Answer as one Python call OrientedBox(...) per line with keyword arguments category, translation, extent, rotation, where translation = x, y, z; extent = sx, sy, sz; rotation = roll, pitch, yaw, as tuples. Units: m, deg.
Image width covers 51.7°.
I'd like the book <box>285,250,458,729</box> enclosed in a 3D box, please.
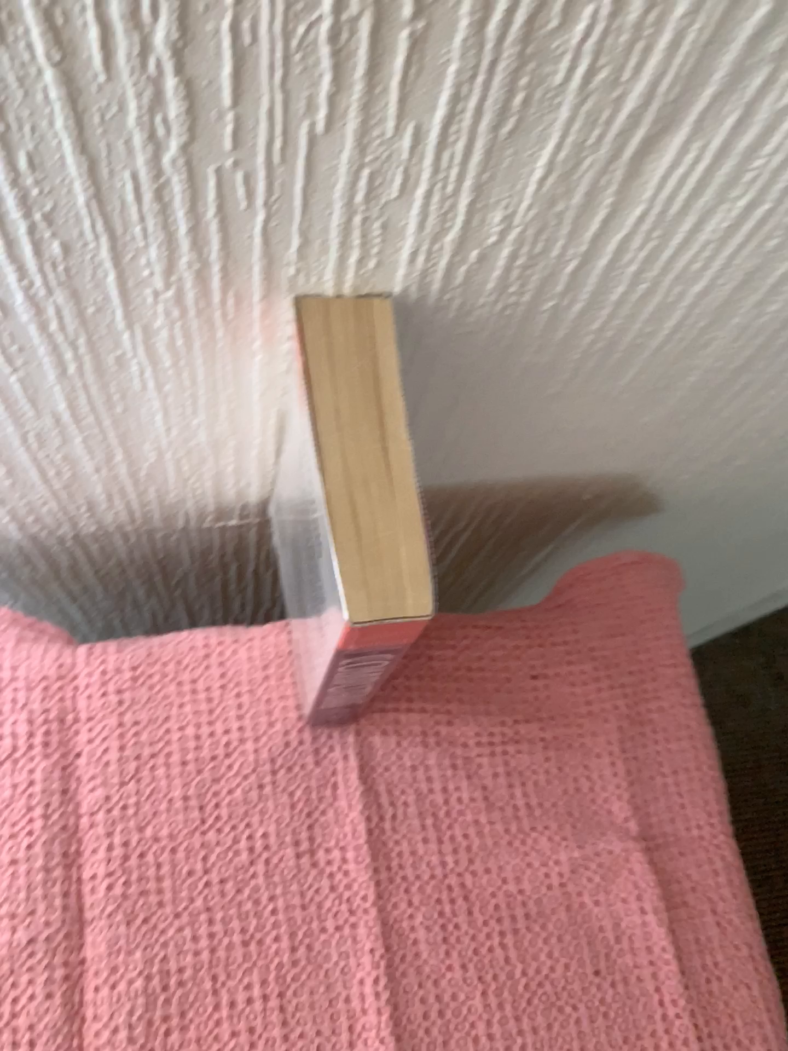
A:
OrientedBox(category="book", translation=(-0.022, 0.001, 0.365), extent=(0.040, 0.189, 0.151), rotation=(-2, 69, -10))
